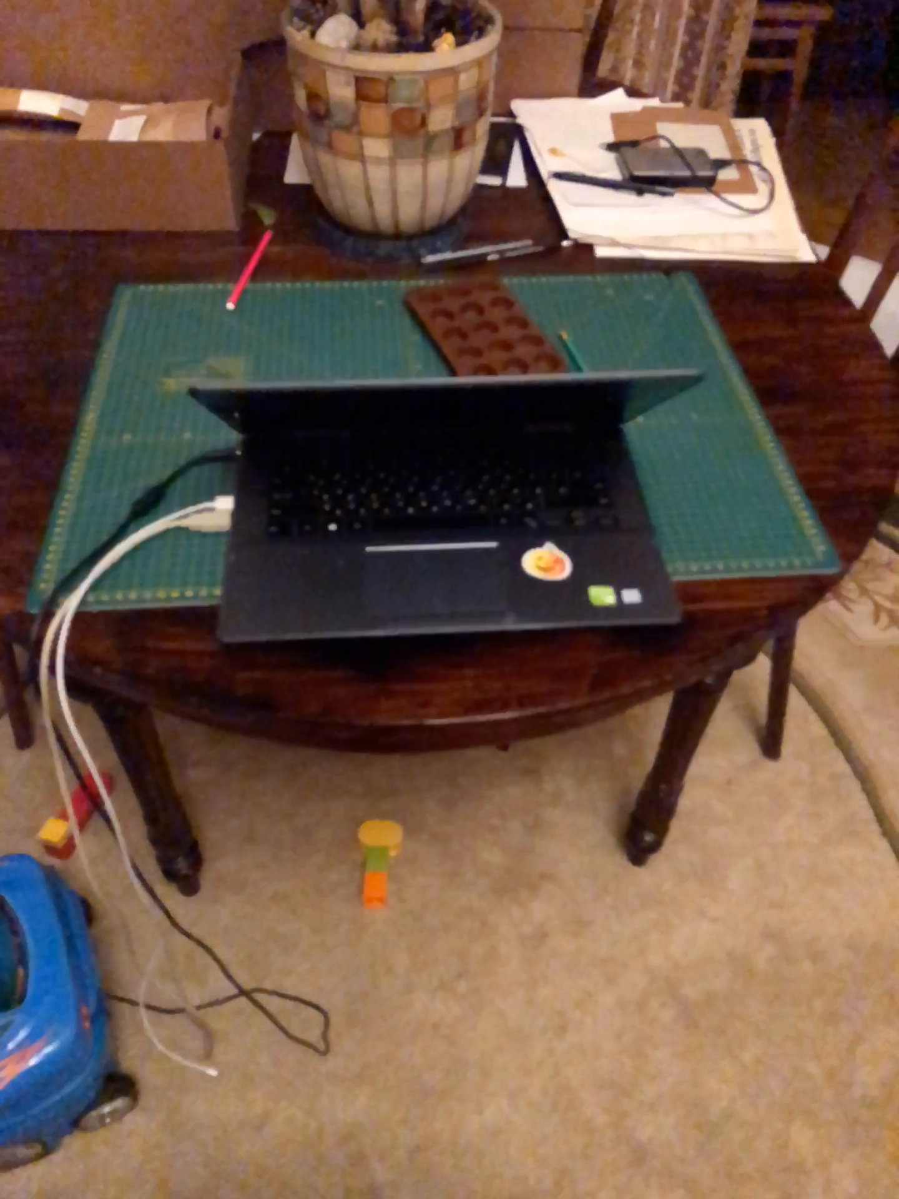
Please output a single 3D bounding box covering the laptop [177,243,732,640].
[{"bbox_3d":[-0.003,-0.117,0.690,0.317,0.162,0.225,-2,47,-4],"label":"laptop"}]
